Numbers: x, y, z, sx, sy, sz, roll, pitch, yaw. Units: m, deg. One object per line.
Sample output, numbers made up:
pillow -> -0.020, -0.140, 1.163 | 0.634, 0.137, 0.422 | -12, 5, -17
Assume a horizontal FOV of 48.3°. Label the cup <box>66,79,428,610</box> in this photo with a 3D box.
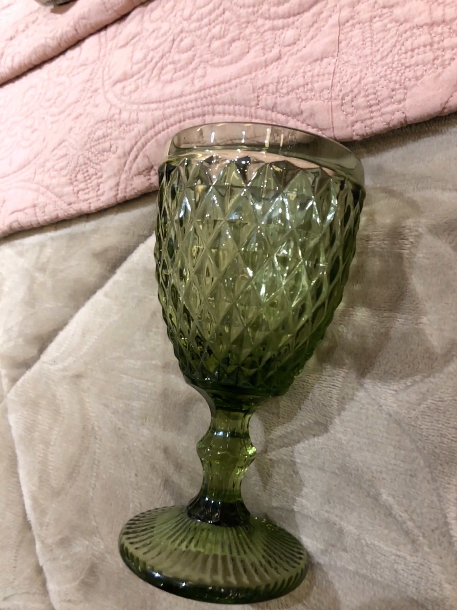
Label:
cup -> 0.013, 0.025, 0.212 | 0.090, 0.080, 0.190 | 5, 82, 37
